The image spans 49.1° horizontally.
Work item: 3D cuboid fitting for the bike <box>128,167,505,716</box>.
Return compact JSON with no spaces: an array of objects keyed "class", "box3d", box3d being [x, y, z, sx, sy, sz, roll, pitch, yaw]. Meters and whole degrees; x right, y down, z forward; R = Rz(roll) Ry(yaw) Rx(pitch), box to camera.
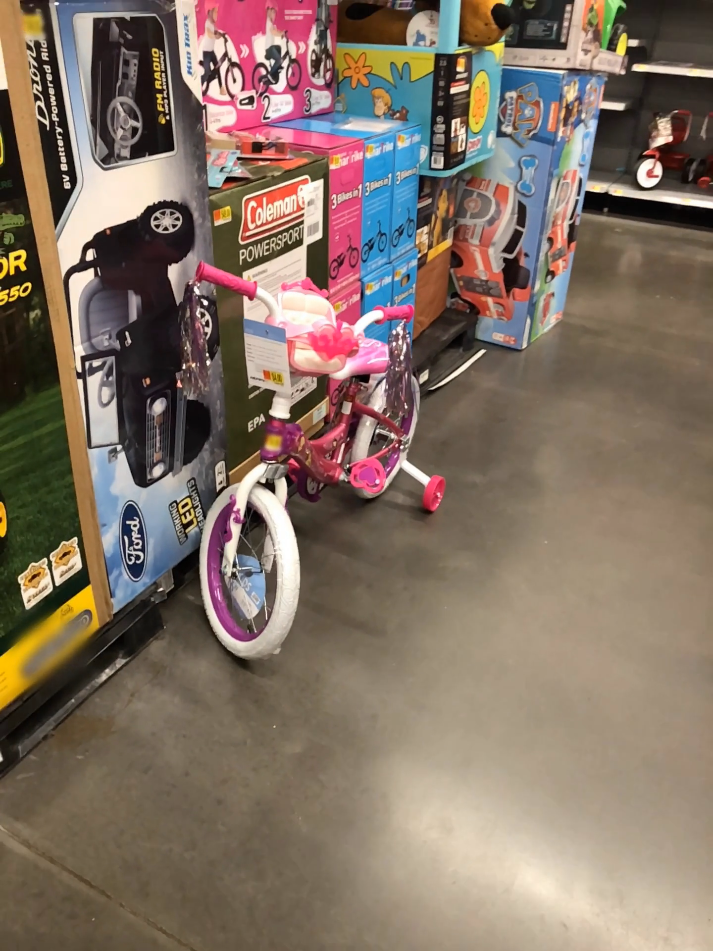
[{"class":"bike","box3d":[-0.016,-0.152,1.839,0.477,0.854,0.954,11,34,14]}]
